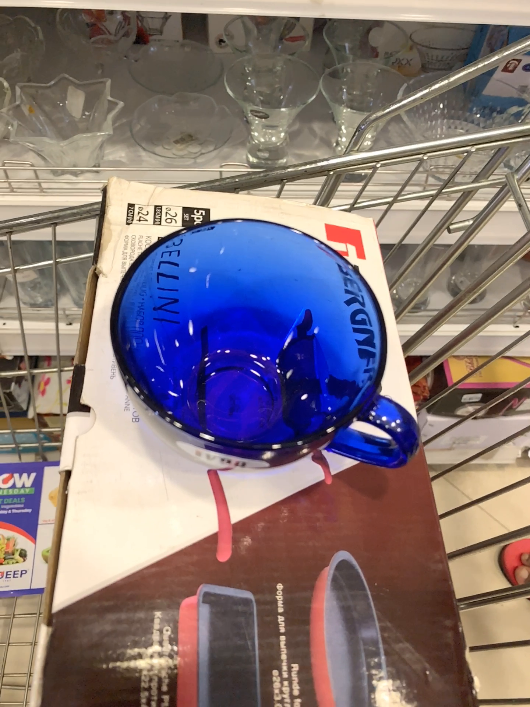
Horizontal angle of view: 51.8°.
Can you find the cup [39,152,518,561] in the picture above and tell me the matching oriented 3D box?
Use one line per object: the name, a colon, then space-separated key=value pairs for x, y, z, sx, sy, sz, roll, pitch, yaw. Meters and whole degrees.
cup: x=0.007 y=-0.003 z=0.173 sx=0.110 sy=0.050 sz=0.080 roll=23 pitch=60 yaw=11
